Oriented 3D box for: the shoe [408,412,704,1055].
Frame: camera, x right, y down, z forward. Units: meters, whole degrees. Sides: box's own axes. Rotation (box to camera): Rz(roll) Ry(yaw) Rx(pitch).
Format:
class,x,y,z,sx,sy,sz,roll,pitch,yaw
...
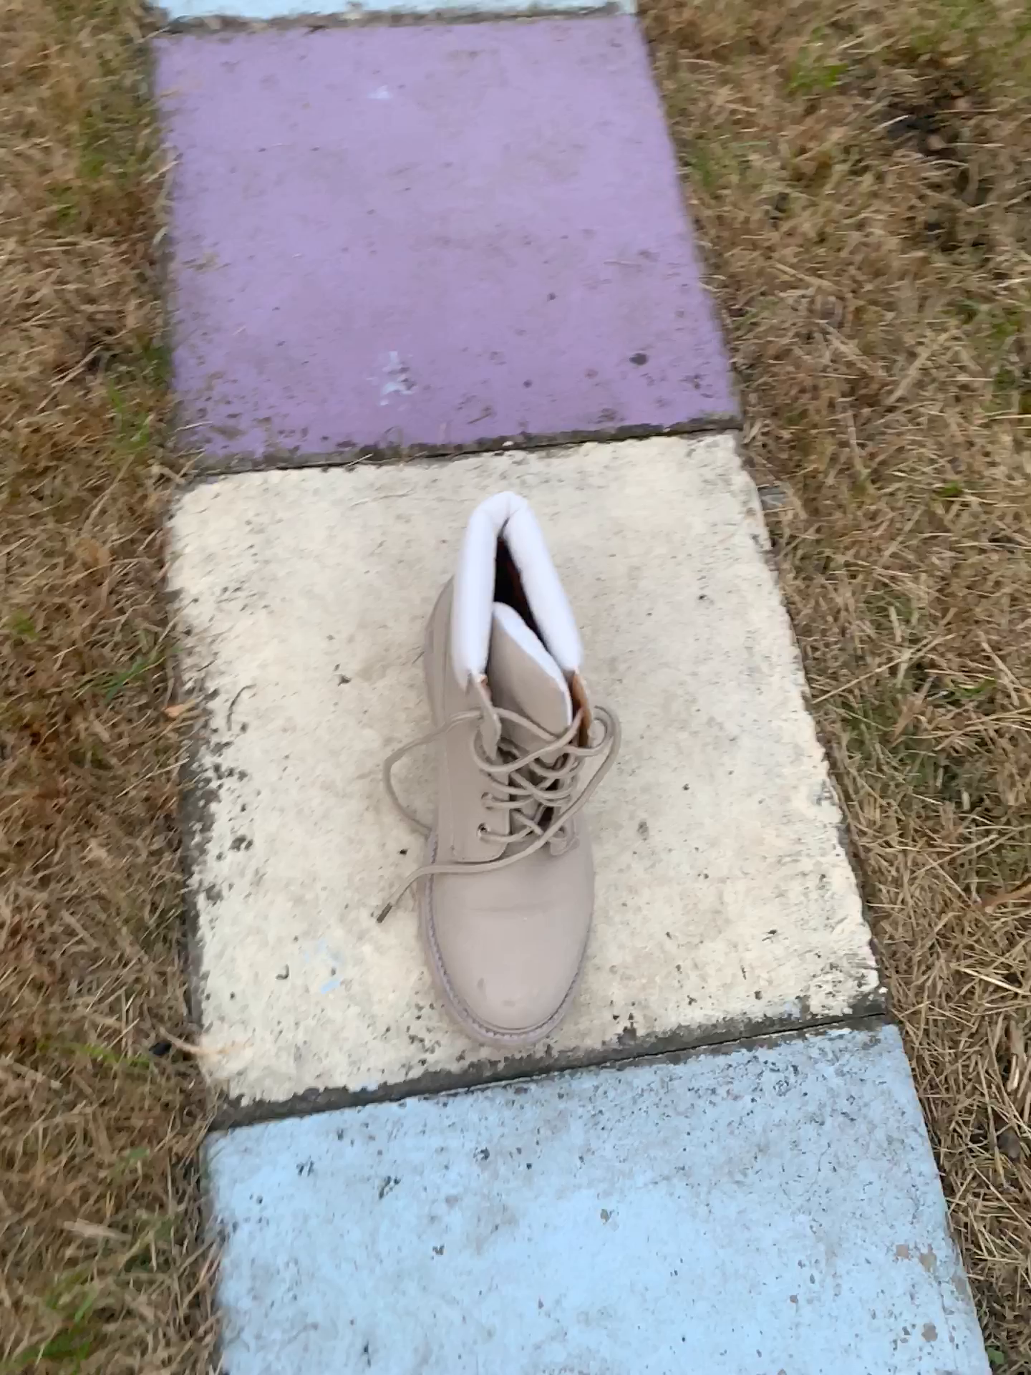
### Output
class,x,y,z,sx,sy,sz,roll,pitch,yaw
shoe,0.002,0.035,0.544,0.100,0.199,0.281,-1,69,-8
